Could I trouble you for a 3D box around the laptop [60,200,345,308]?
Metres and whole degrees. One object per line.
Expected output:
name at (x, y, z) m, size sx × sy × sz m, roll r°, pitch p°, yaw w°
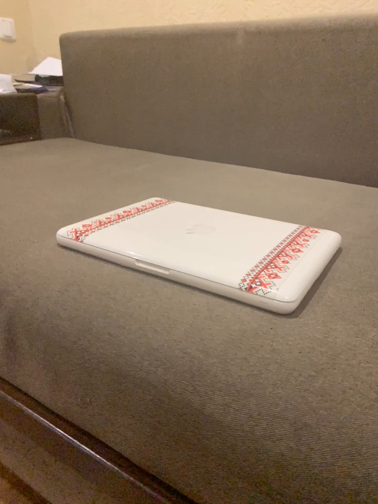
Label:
laptop at (0.024, -0.019, 0.544) m, size 0.325 × 0.003 × 0.223 m, roll 15°, pitch 27°, yaw 27°
